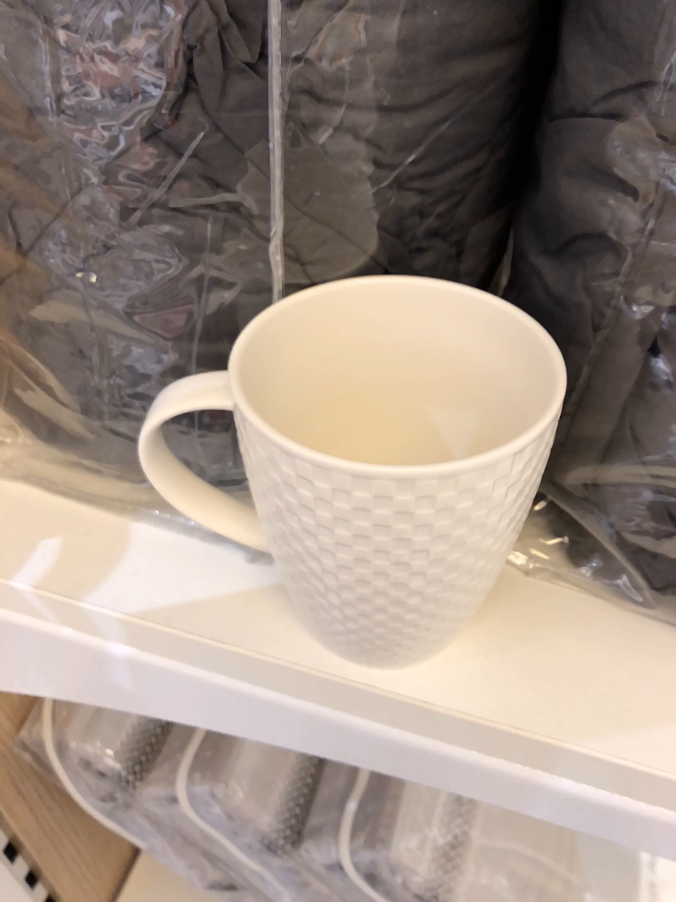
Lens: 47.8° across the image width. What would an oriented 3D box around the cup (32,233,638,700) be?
[{"bbox_3d":[-0.001,0.004,0.198,0.110,0.089,0.081,-1,42,-1],"label":"cup"}]
